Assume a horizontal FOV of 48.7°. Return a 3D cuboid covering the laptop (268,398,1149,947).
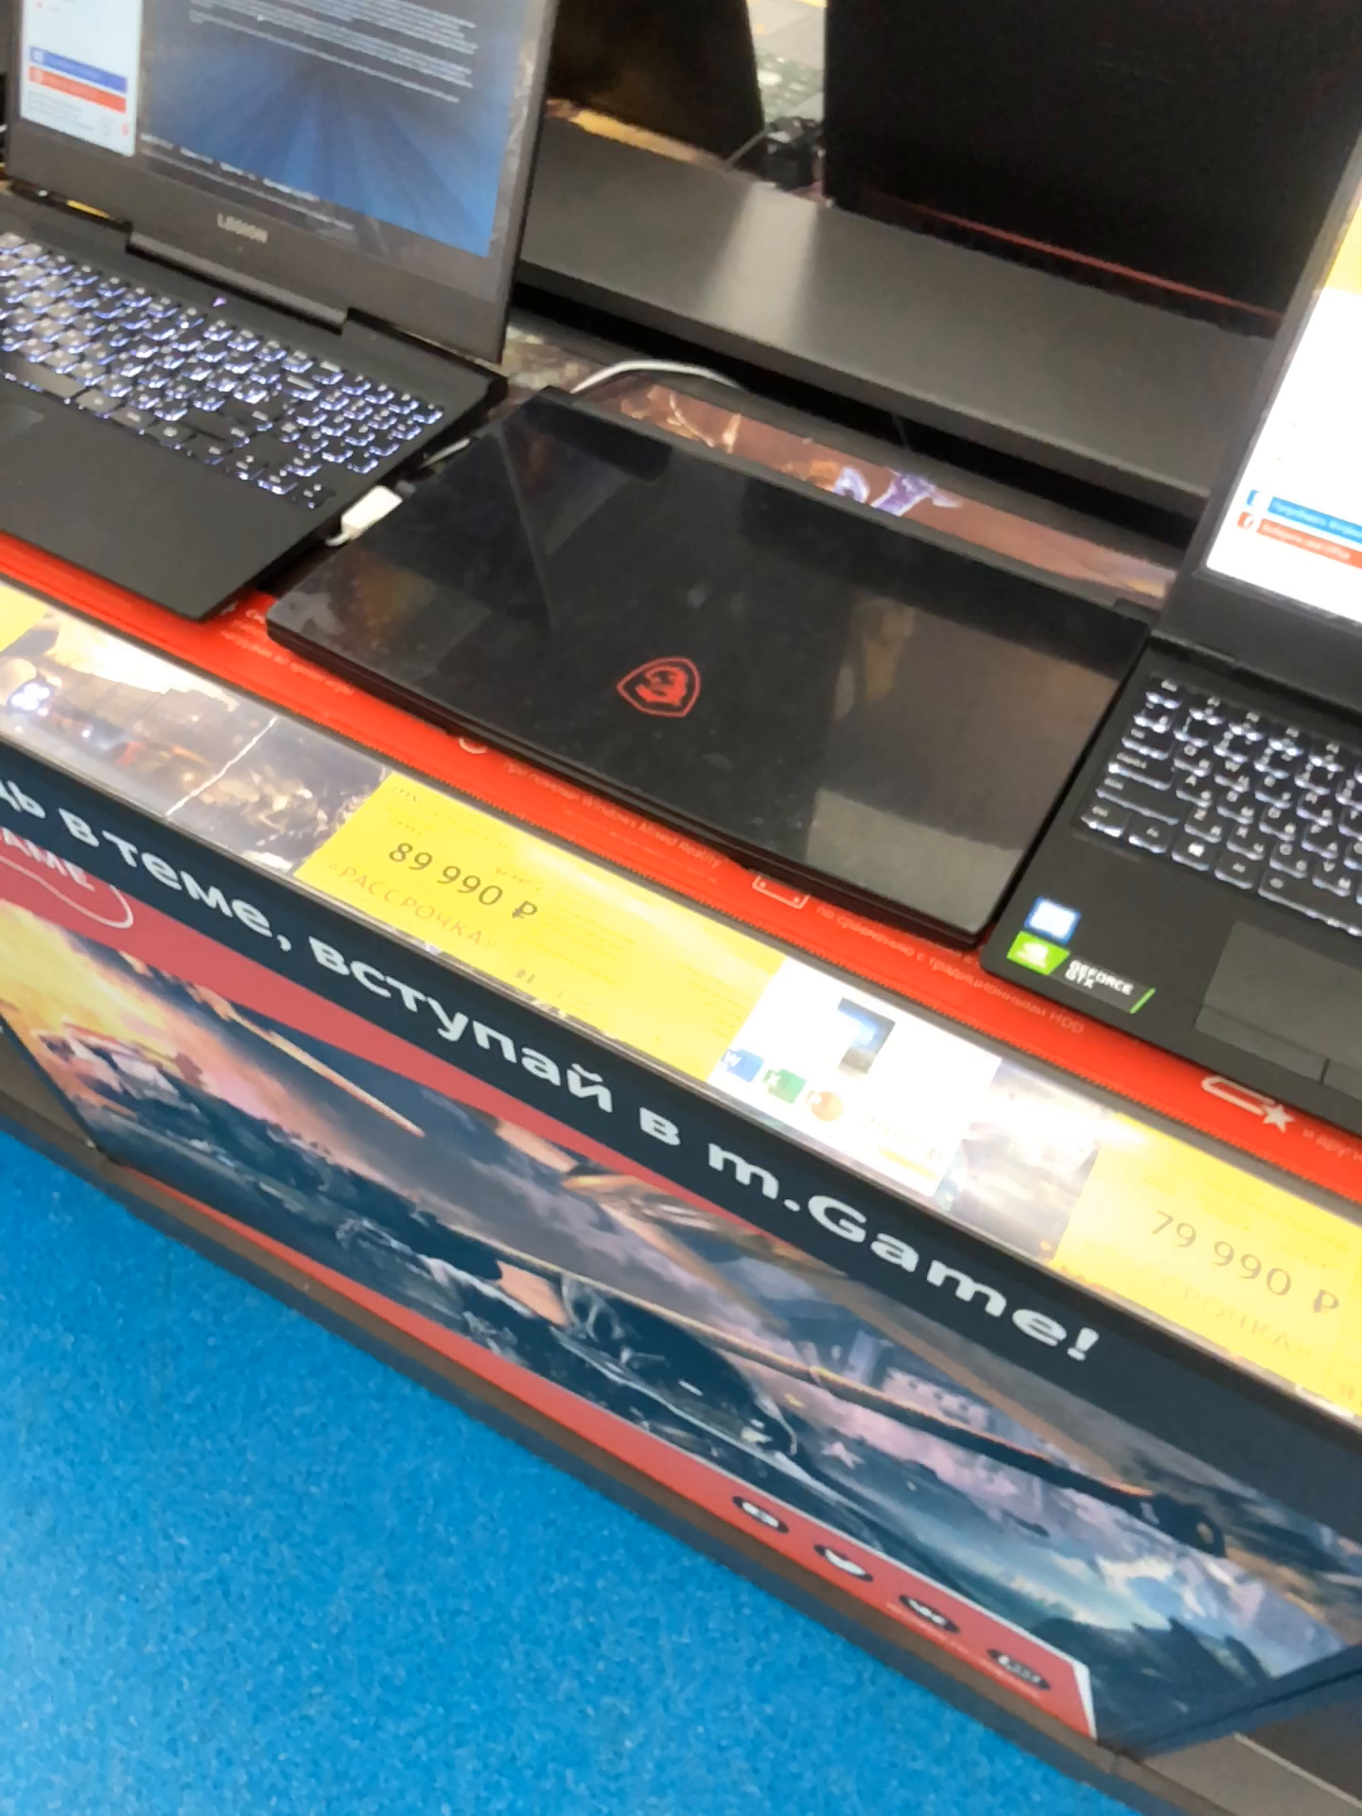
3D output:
[{"bbox_3d":[0.020,-0.134,0.713,0.353,0.002,0.239,25,51,16],"label":"laptop"}]
